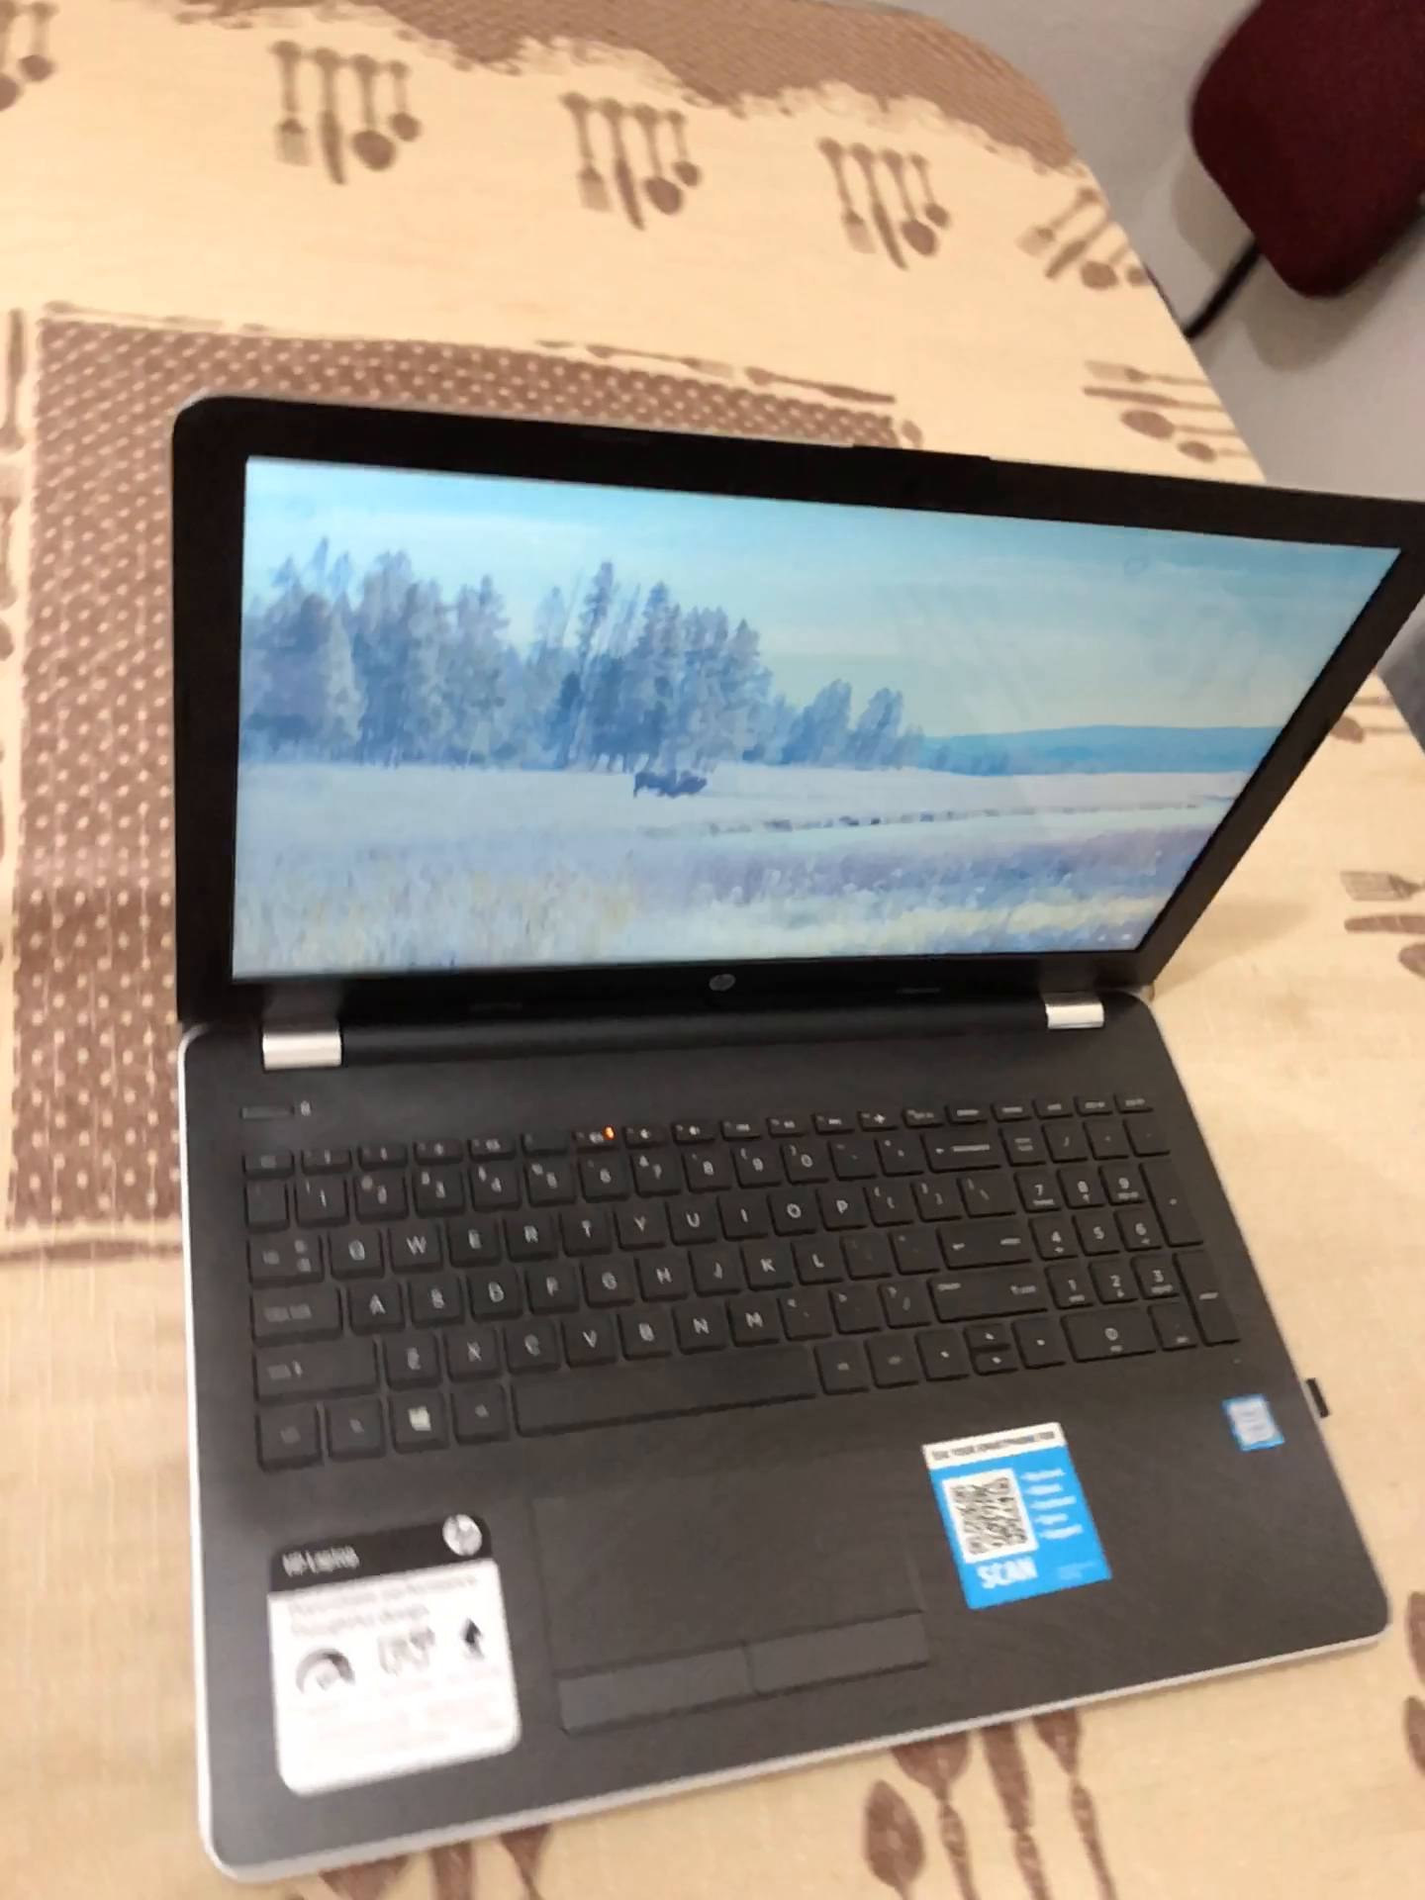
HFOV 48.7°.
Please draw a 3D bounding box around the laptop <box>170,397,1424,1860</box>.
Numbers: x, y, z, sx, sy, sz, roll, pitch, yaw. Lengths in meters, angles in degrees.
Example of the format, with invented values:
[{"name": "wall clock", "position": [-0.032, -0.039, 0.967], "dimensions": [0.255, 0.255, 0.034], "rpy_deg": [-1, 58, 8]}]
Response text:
[{"name": "laptop", "position": [0.049, 0.048, 0.427], "dimensions": [0.360, 0.226, 0.268], "rpy_deg": [-1, 56, -20]}]
